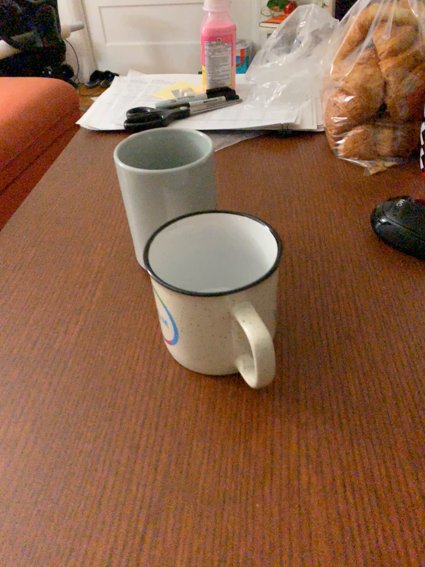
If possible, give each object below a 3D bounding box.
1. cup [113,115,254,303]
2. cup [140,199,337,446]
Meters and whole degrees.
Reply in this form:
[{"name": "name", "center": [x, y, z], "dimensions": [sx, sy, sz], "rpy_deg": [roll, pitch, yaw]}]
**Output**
[{"name": "cup", "center": [-0.030, -0.074, 0.402], "dimensions": [0.100, 0.099, 0.141], "rpy_deg": [-10, 42, -6]}, {"name": "cup", "center": [0.010, 0.023, 0.316], "dimensions": [0.100, 0.099, 0.131], "rpy_deg": [-10, 42, -6]}]
